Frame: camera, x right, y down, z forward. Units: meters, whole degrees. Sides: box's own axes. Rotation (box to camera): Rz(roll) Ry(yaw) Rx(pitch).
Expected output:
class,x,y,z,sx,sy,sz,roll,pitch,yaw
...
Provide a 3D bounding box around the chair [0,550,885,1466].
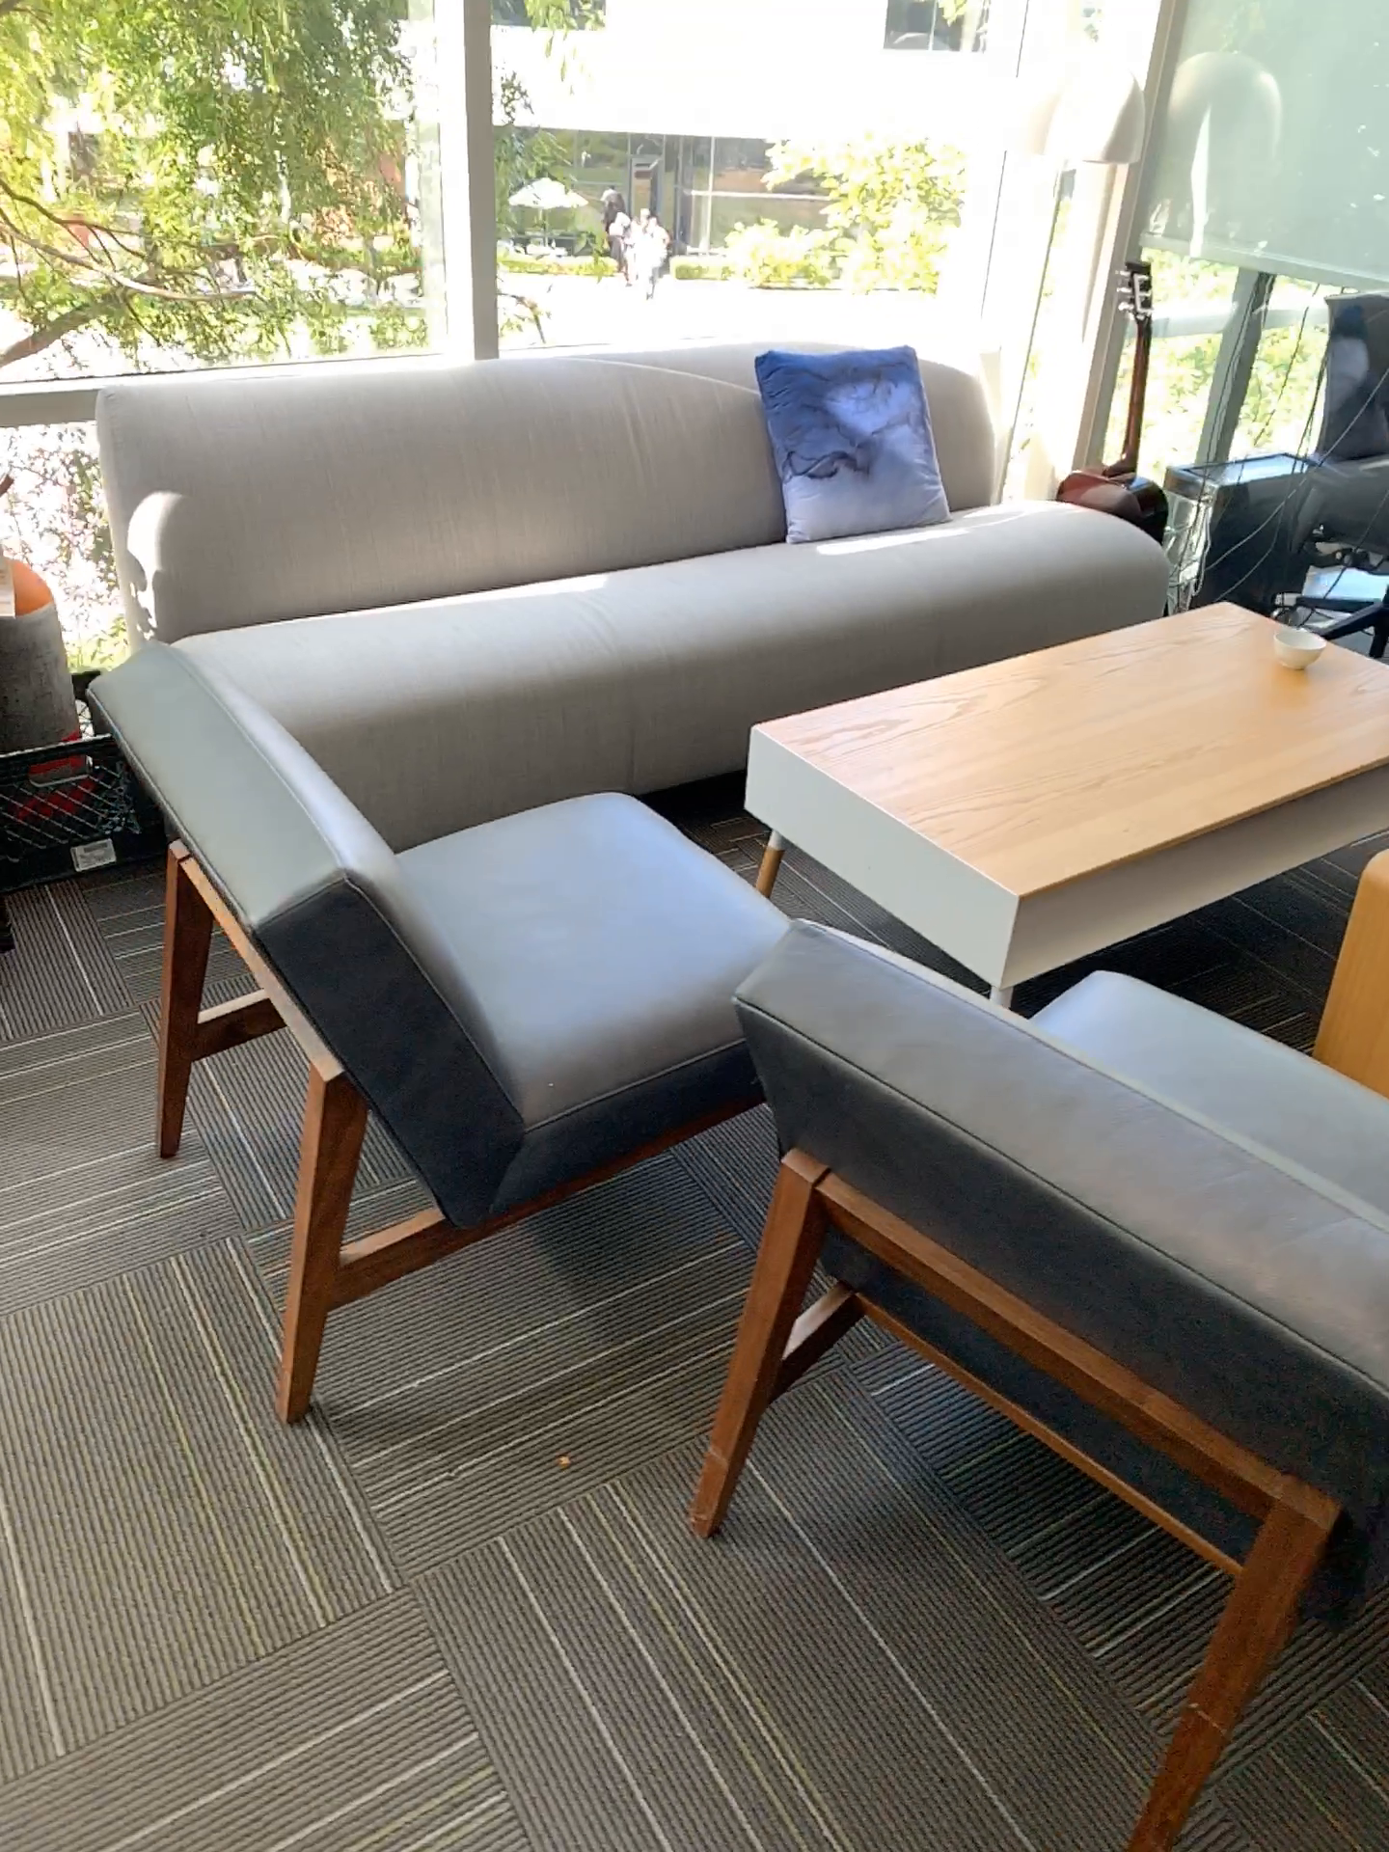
class,x,y,z,sx,sy,sz,roll,pitch,yaw
chair,-0.348,0.029,1.957,0.851,0.765,0.743,-20,39,-31

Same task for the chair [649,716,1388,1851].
class,x,y,z,sx,sy,sz,roll,pitch,yaw
chair,0.504,0.351,1.541,0.682,0.765,0.852,29,41,34
